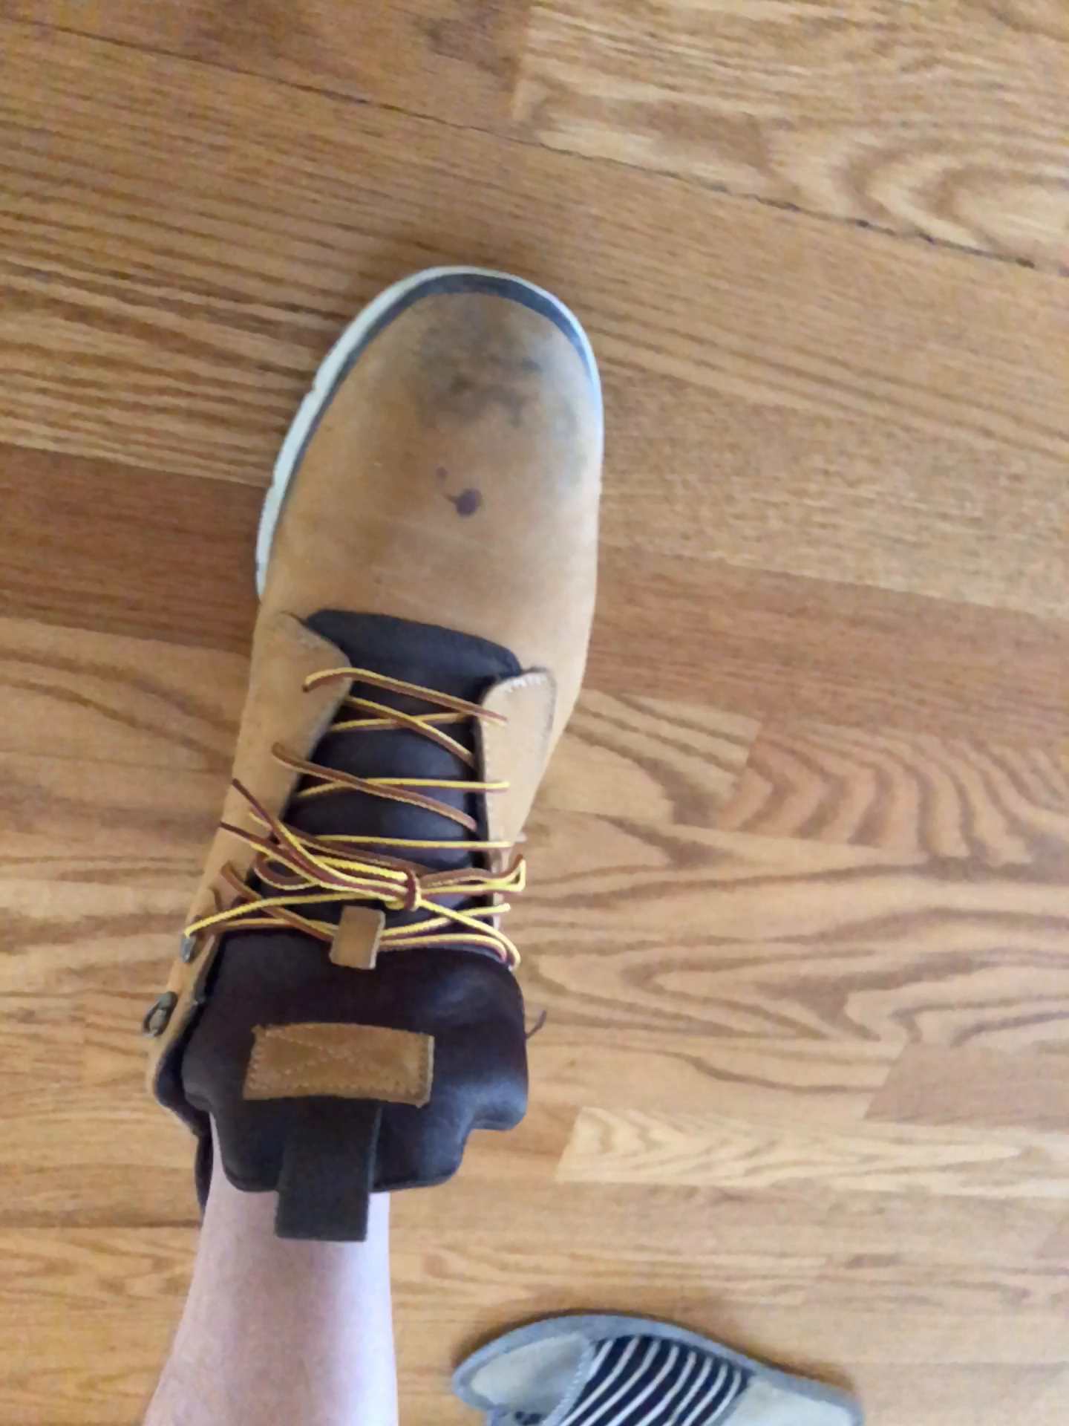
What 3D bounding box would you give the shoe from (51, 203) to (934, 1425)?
[{"bbox_3d":[-0.040,0.040,0.343,0.120,0.169,0.311,11,115,-16],"label":"shoe"}]
